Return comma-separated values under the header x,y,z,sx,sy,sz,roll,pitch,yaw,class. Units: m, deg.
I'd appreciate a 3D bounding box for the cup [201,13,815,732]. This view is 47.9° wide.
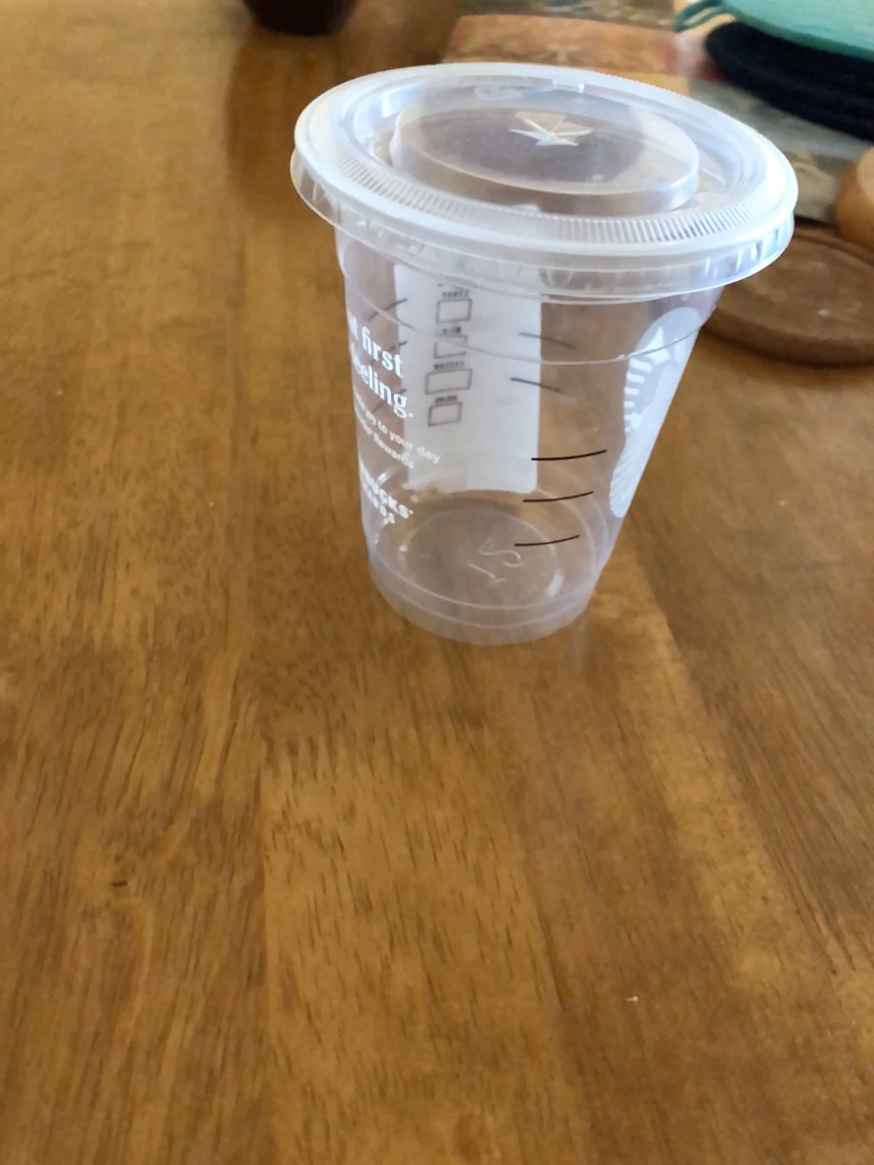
x,y,z,sx,sy,sz,roll,pitch,yaw,class
0.017,-0.048,0.211,0.090,0.100,0.100,13,43,8,cup
